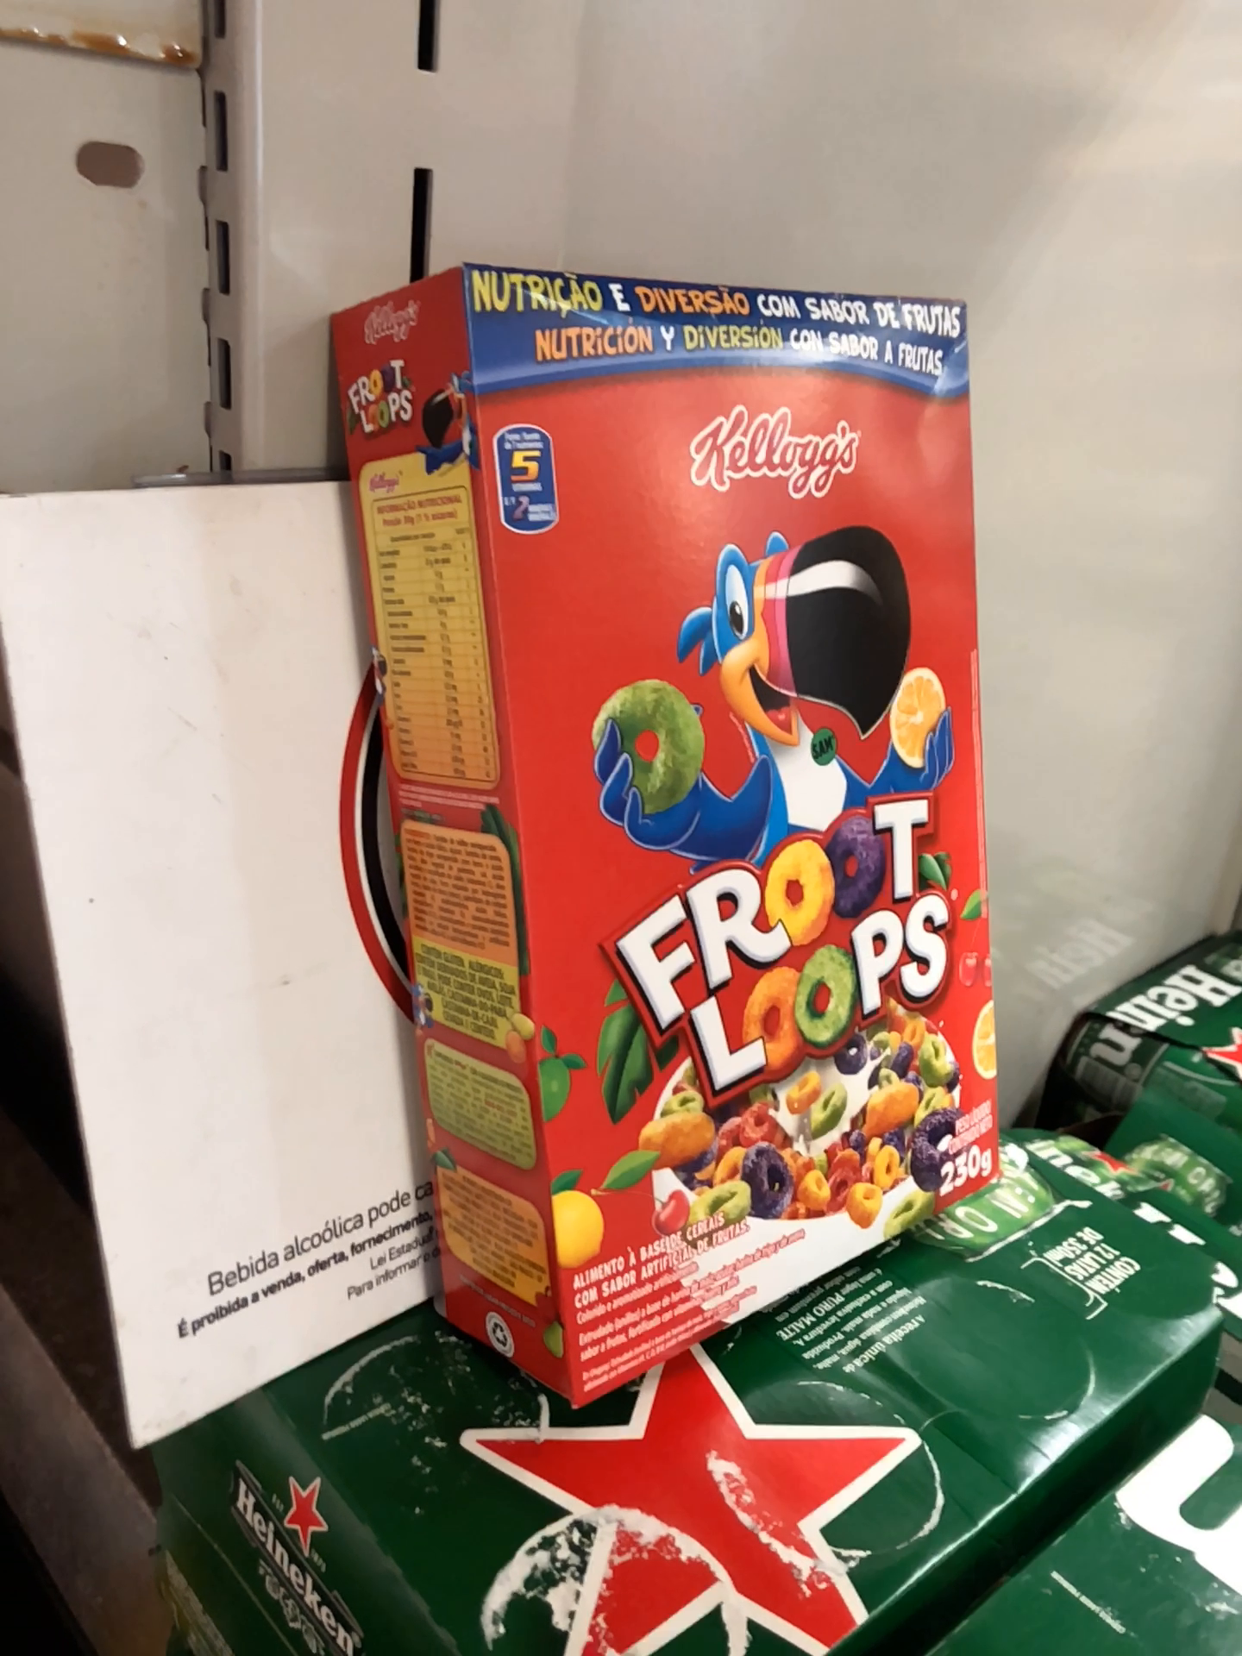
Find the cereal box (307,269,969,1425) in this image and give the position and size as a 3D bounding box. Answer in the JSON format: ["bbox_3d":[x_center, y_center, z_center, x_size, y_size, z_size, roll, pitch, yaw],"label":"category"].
[{"bbox_3d":[0.015,-0.004,0.371,0.151,0.259,0.060,-14,13,-37],"label":"cereal box"}]
